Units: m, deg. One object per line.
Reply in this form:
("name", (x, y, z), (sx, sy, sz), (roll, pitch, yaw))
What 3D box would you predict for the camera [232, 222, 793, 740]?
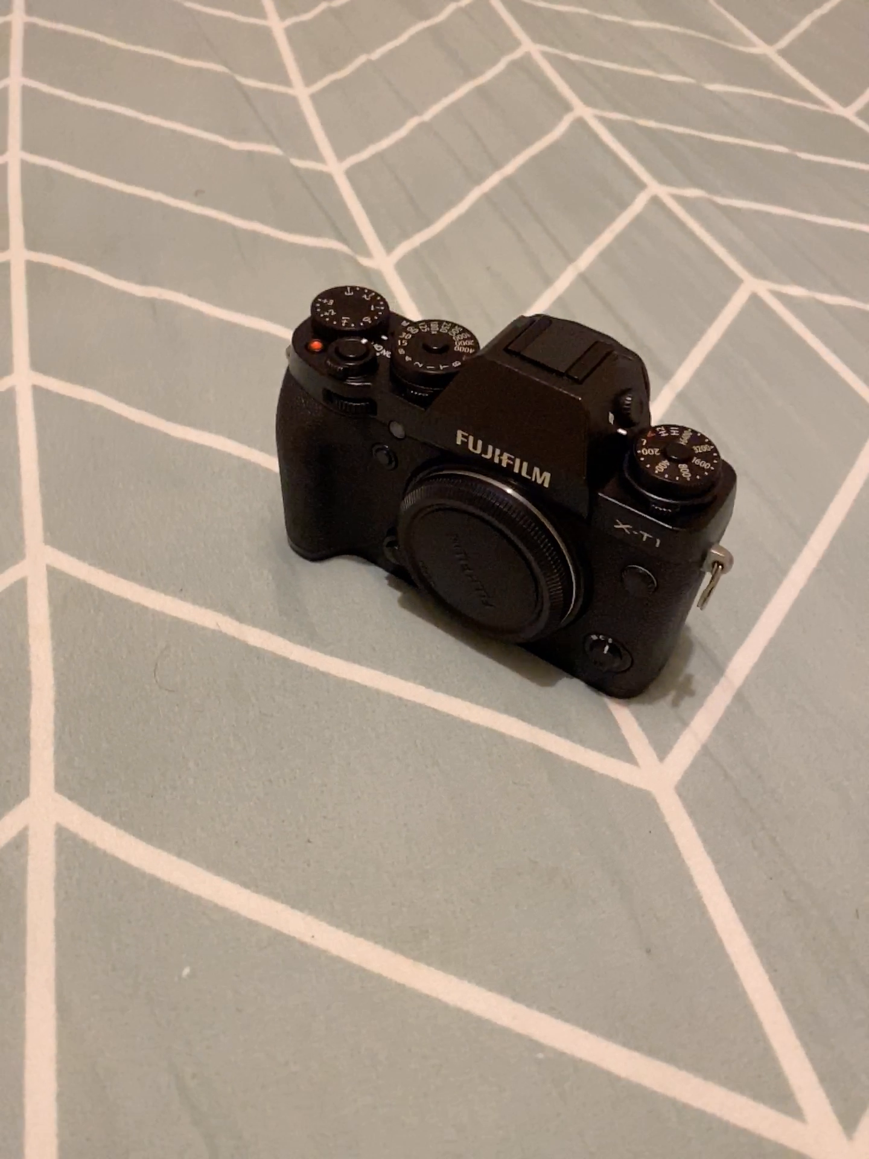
("camera", (0.015, -0.029, 0.254), (0.130, 0.087, 0.052), (29, 54, 20))
